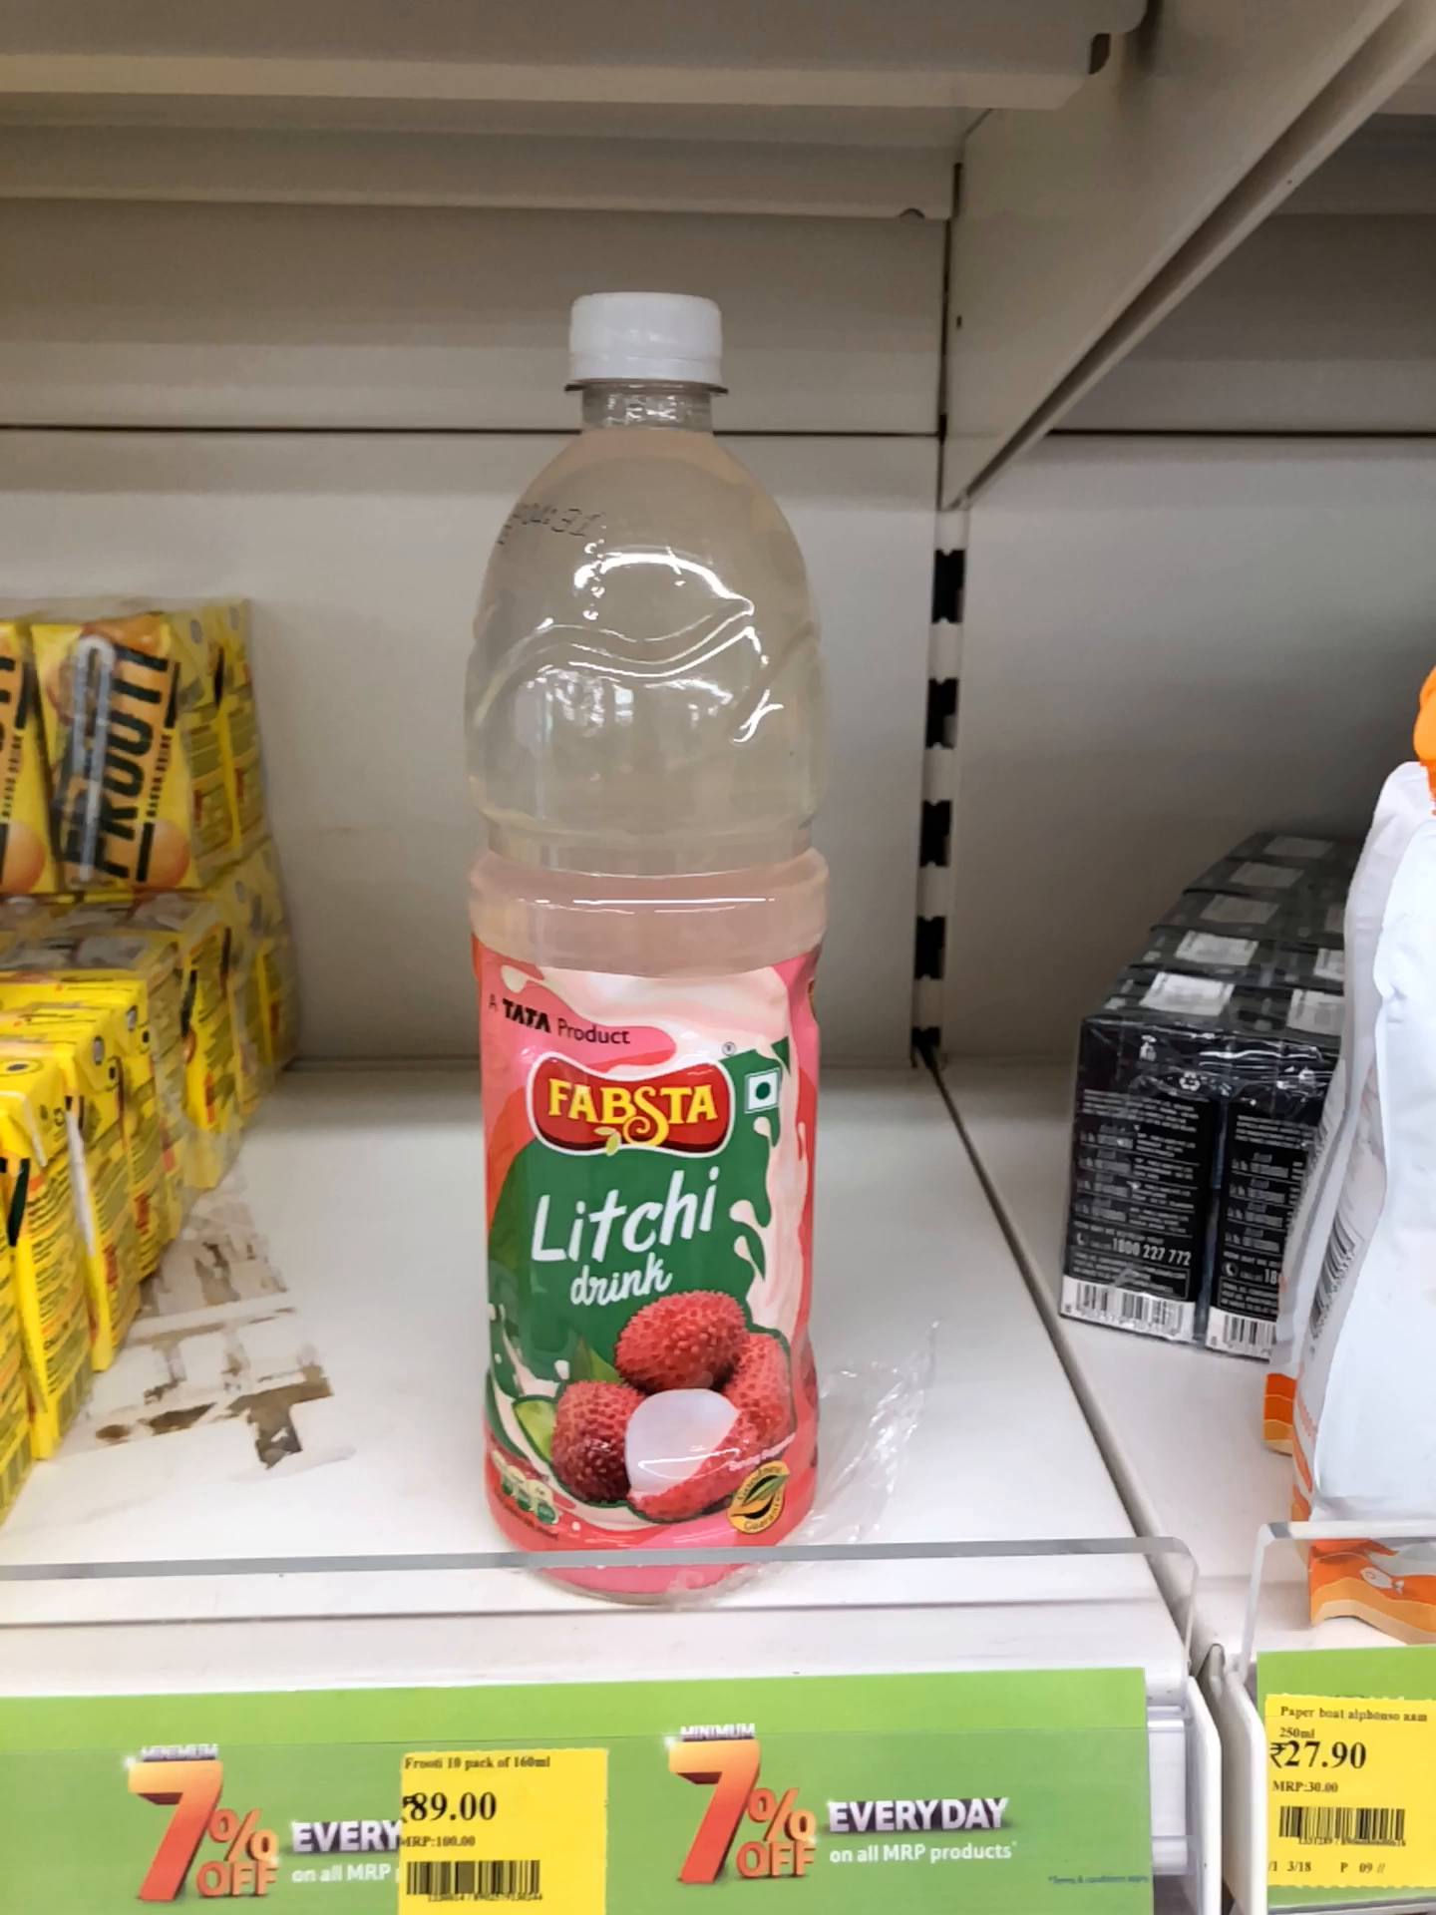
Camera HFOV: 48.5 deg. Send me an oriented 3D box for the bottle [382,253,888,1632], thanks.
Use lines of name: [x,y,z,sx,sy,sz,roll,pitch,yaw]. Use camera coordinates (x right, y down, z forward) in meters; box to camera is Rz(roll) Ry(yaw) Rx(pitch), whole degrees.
bottle: [-0.011,0.002,0.336,0.080,0.269,0.070,3,18,9]
